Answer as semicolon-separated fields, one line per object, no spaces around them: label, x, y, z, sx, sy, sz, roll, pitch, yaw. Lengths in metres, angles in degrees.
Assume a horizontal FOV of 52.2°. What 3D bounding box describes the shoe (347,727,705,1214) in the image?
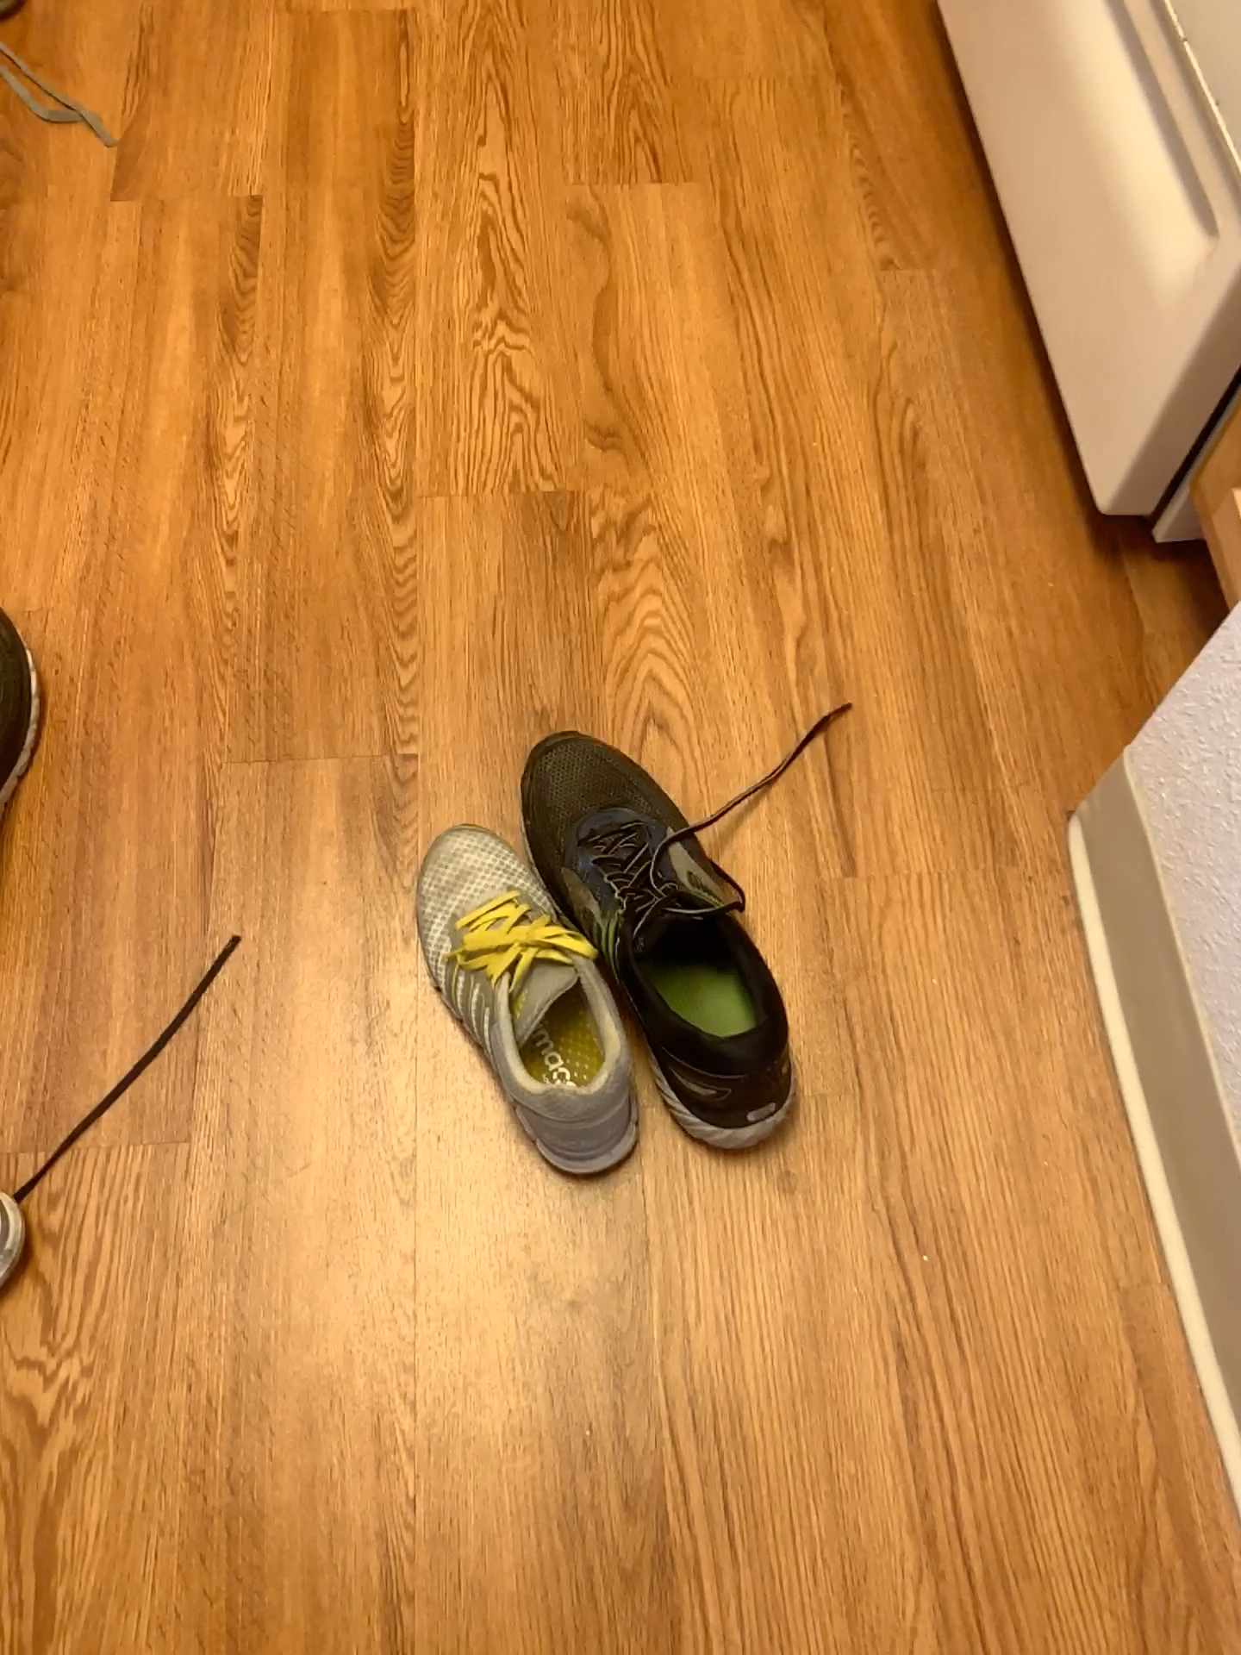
shoe;-0.059;0.083;0.758;0.100;0.110;0.251;-25;67;-13

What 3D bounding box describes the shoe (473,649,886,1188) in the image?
shoe;0.025;0.051;0.771;0.110;0.110;0.291;-25;66;-13
